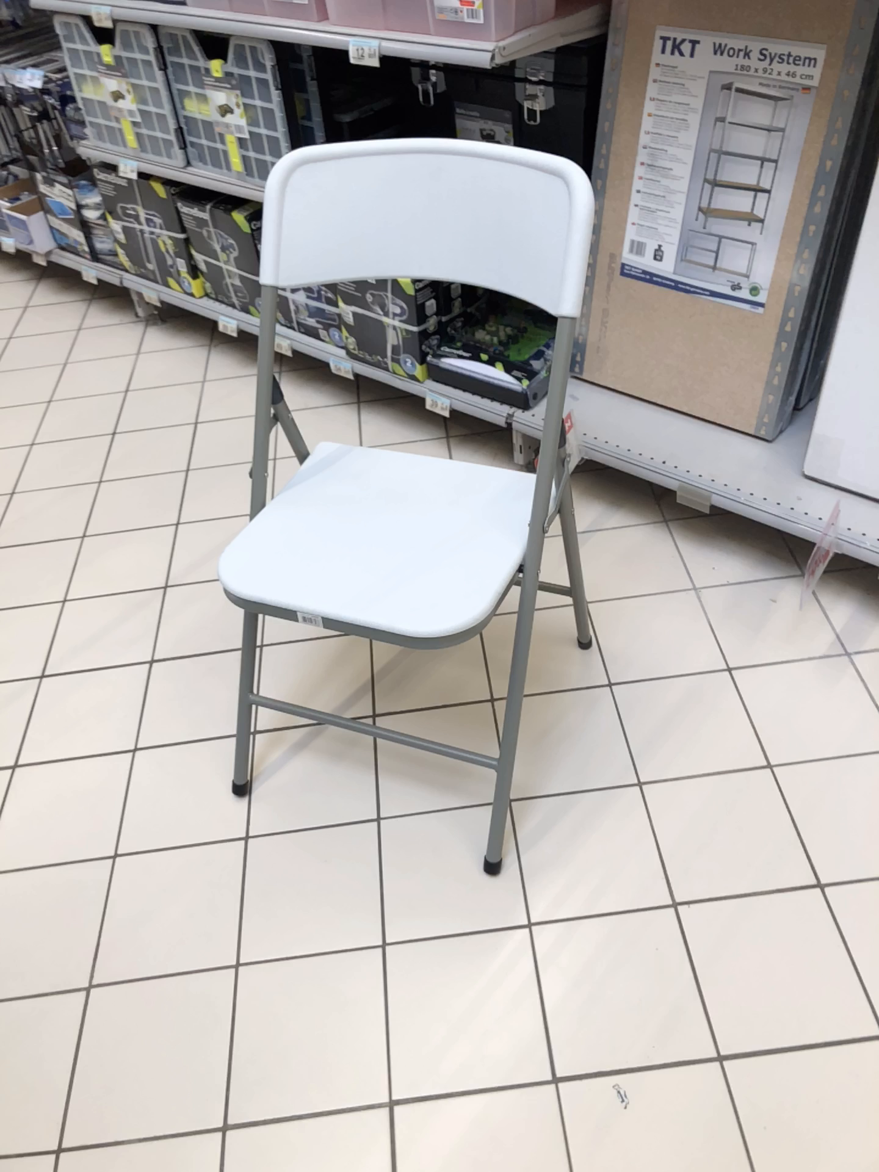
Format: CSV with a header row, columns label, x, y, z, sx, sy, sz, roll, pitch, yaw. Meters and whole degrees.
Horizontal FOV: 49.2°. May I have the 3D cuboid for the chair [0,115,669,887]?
label,x,y,z,sx,sy,sz,roll,pitch,yaw
chair,-0.055,-0.124,1.261,0.540,0.746,0.563,12,45,20
